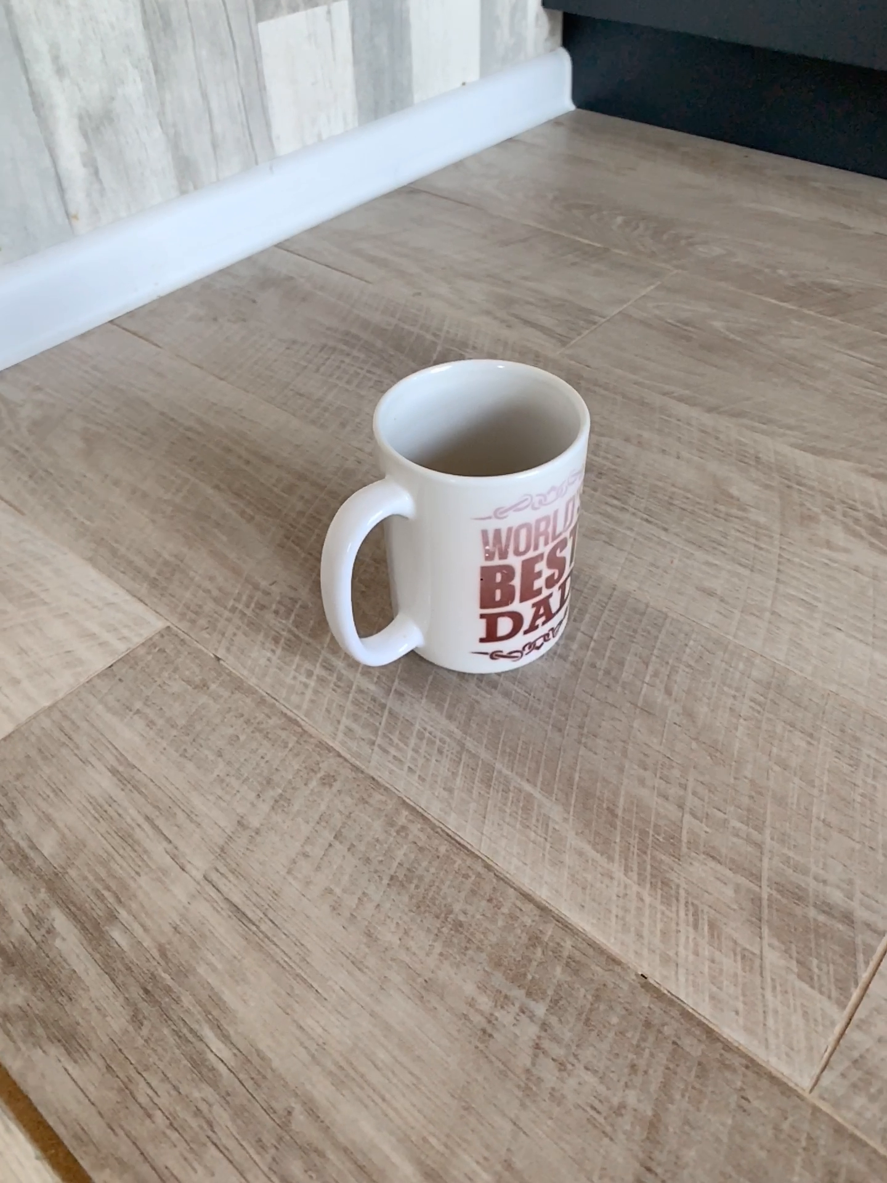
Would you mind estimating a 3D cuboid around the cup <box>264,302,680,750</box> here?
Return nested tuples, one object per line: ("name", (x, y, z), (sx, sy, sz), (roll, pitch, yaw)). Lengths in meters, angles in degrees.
("cup", (0.013, -0.030, 0.367), (0.130, 0.110, 0.080), (-33, 52, -28))
